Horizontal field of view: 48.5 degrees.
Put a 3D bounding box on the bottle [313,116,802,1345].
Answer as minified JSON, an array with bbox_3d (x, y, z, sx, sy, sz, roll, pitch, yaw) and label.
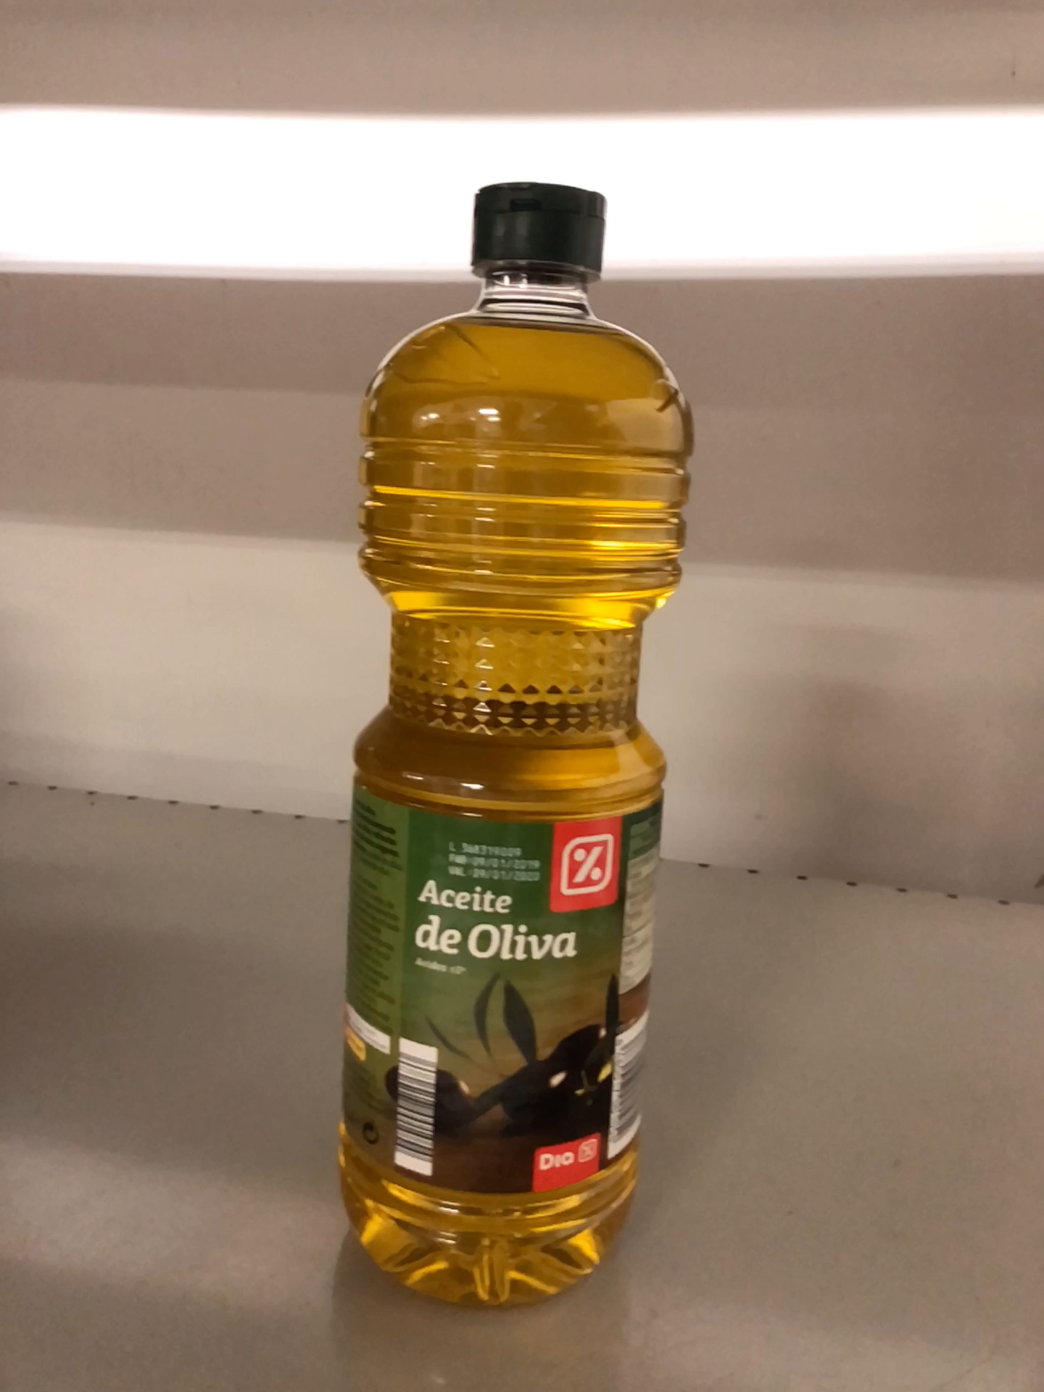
[{"bbox_3d":[-0.001,0.015,0.262,0.080,0.249,0.060,2,13,-8],"label":"bottle"}]
